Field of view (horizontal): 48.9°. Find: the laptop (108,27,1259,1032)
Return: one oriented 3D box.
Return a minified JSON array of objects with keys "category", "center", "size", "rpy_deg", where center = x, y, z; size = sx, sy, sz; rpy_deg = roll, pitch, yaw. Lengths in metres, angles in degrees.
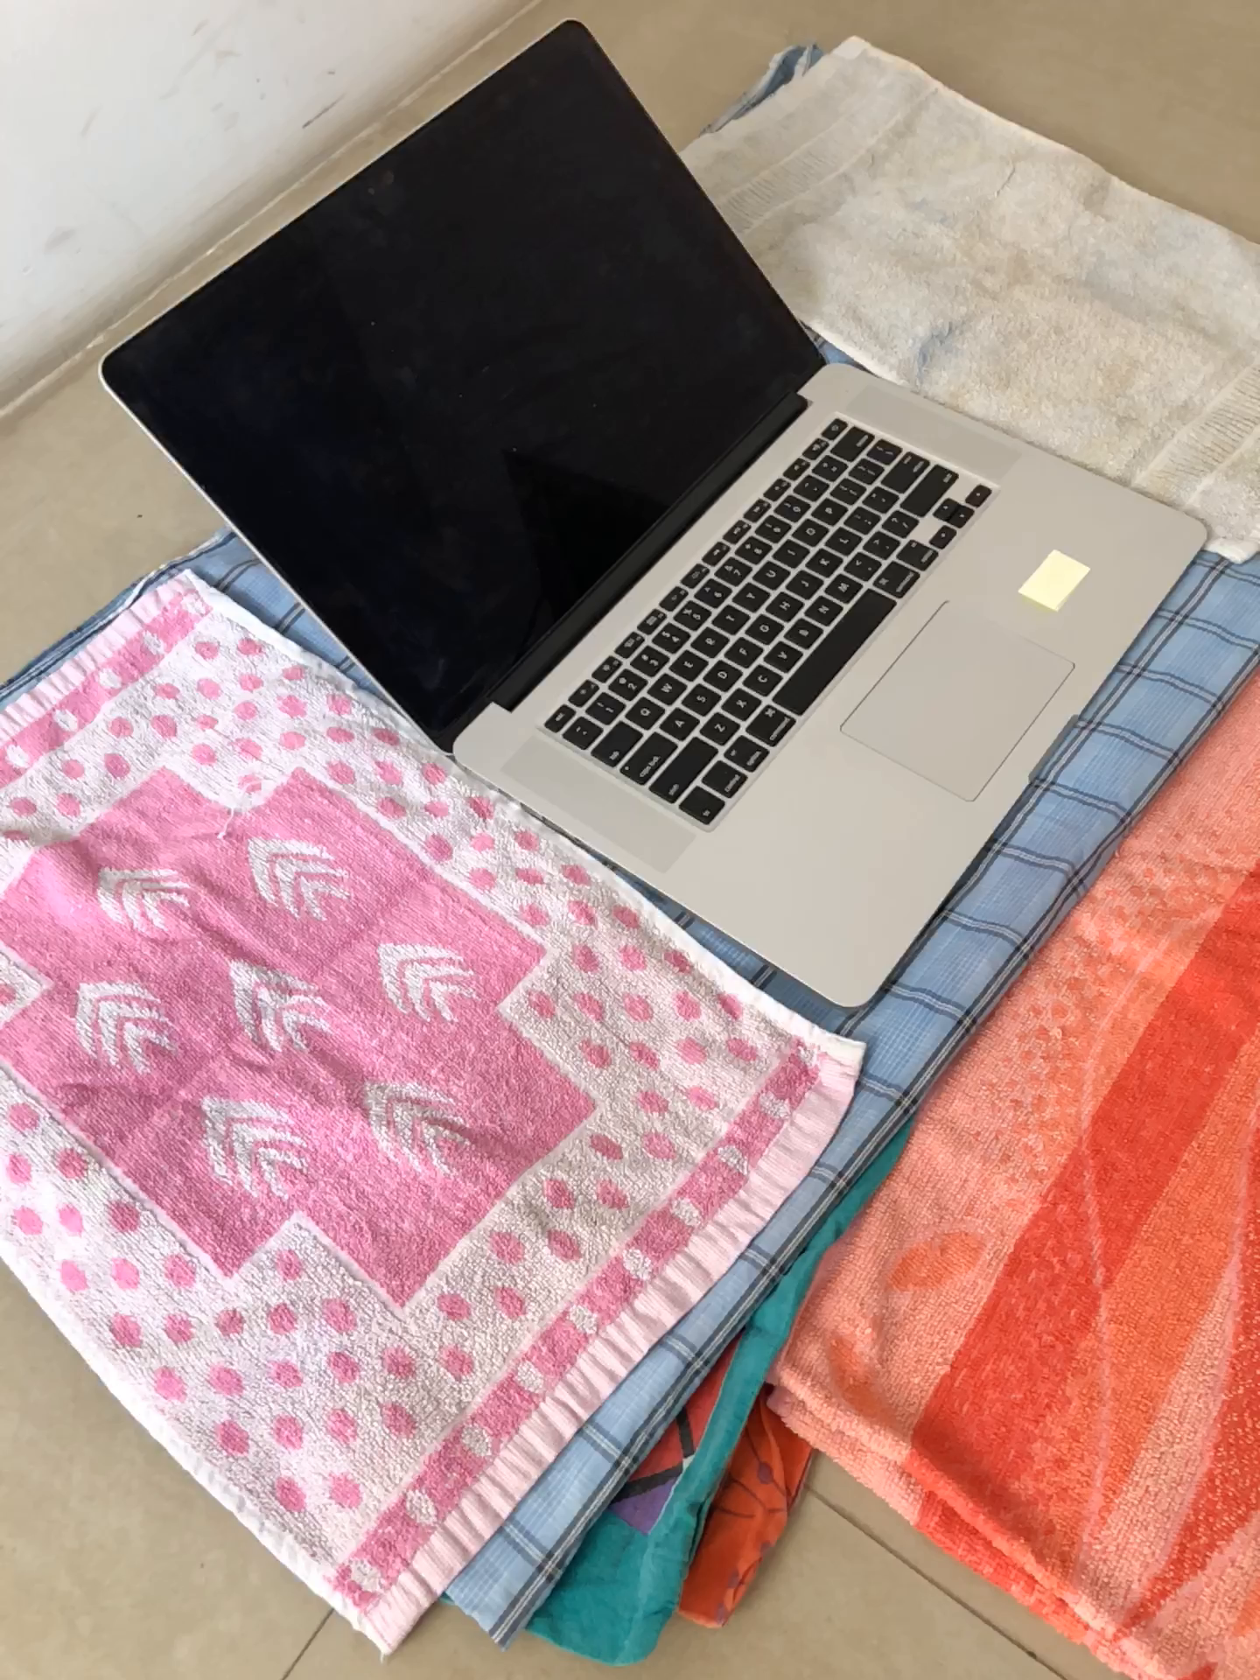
[{"category":"laptop","center":[0.032,-0.179,0.682],"size":[0.413,0.144,0.344],"rpy_deg":[32,67,20]}]
